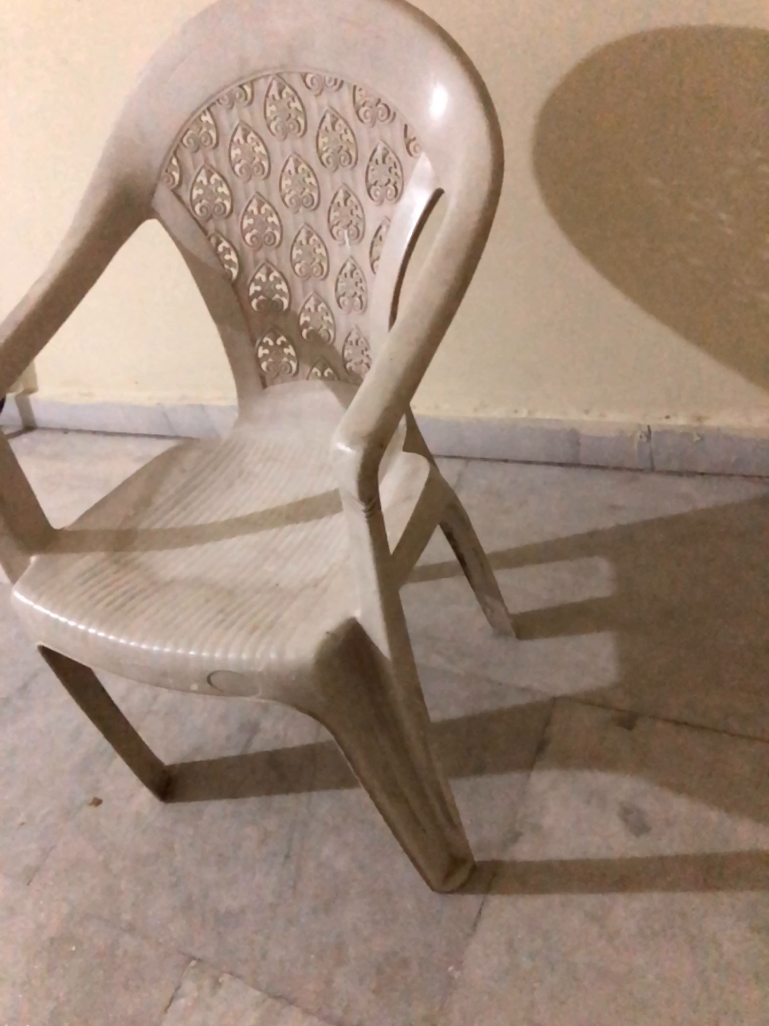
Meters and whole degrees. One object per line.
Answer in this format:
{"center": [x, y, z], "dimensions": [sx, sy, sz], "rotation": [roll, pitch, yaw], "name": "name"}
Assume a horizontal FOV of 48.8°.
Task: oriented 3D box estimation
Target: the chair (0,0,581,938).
{"center": [-0.173, -0.054, 0.911], "dimensions": [0.530, 0.835, 0.513], "rotation": [6, 47, 29], "name": "chair"}
